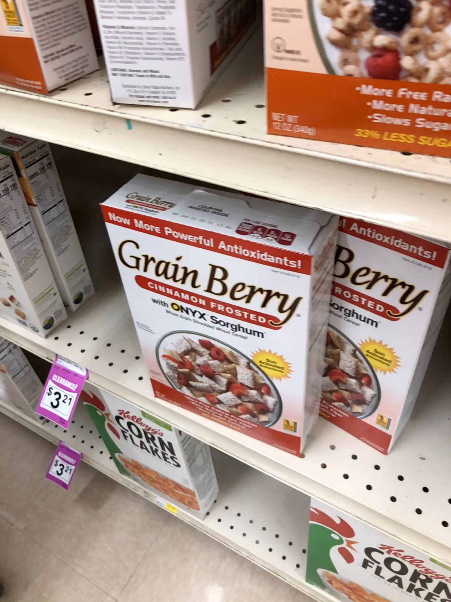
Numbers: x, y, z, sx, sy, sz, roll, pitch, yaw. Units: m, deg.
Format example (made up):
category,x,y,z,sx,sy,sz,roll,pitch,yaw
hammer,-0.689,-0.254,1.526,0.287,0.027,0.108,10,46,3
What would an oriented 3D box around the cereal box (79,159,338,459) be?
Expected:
category,x,y,z,sx,sy,sz,roll,pitch,yaw
cereal box,-0.007,0.019,0.498,0.200,0.279,0.070,17,49,22
